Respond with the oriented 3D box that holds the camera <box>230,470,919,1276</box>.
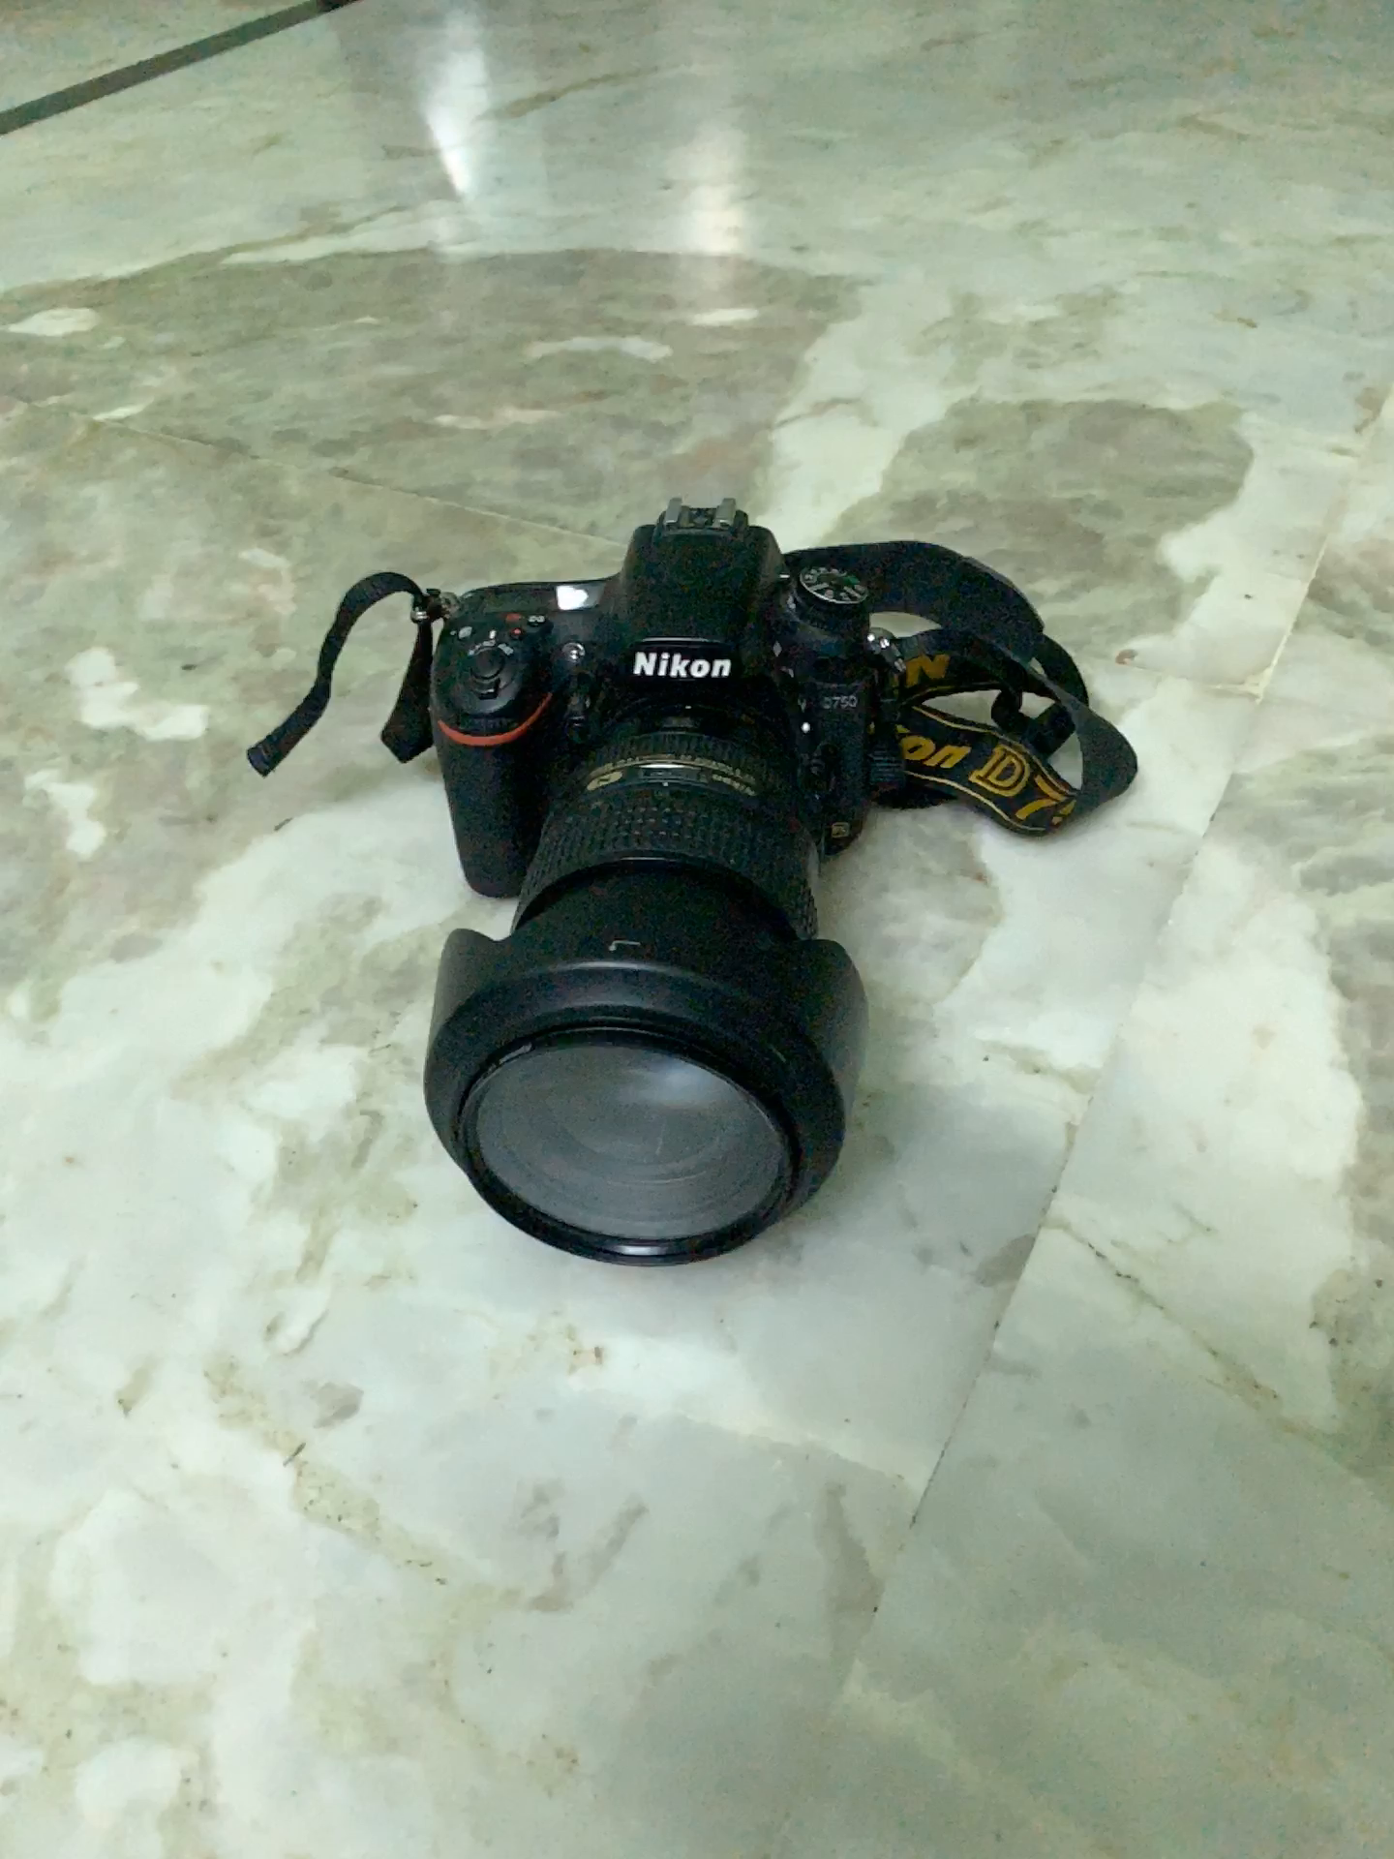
[{"bbox_3d":[-0.016,-0.028,0.374,0.130,0.090,0.211,0,45,4],"label":"camera"}]
